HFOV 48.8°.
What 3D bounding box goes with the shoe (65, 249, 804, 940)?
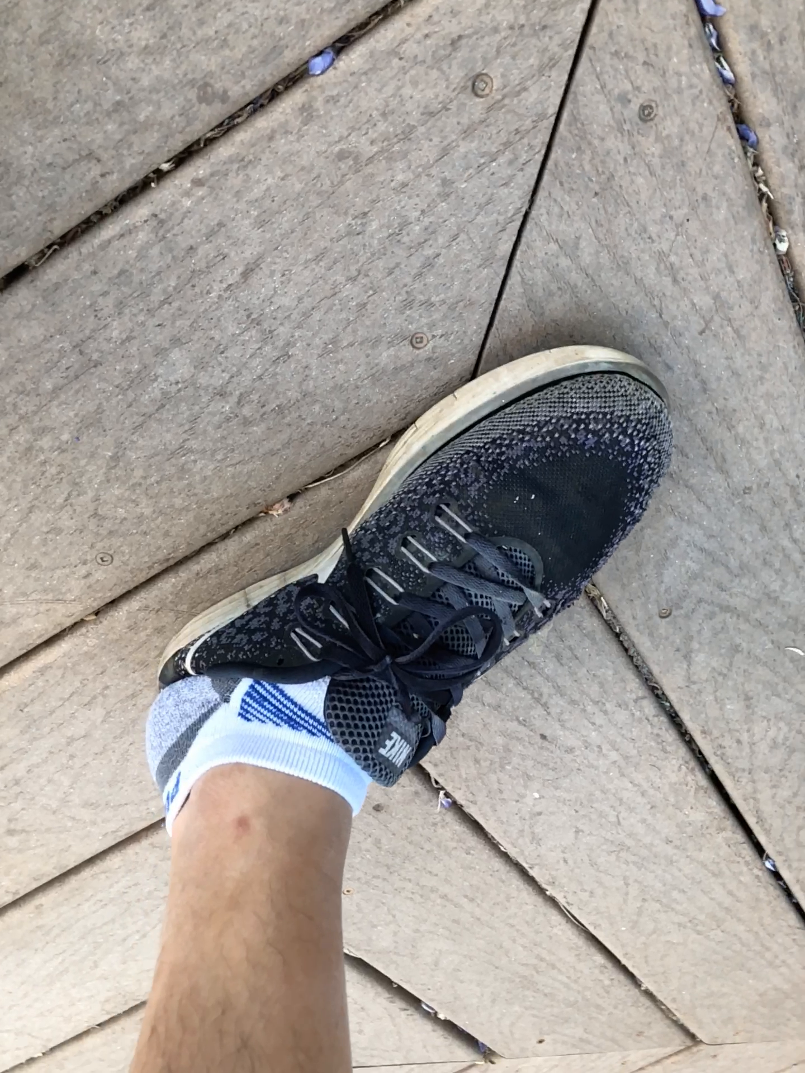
[{"bbox_3d":[0.003,0.037,0.405,0.300,0.100,0.130,-42,122,13],"label":"shoe"}]
